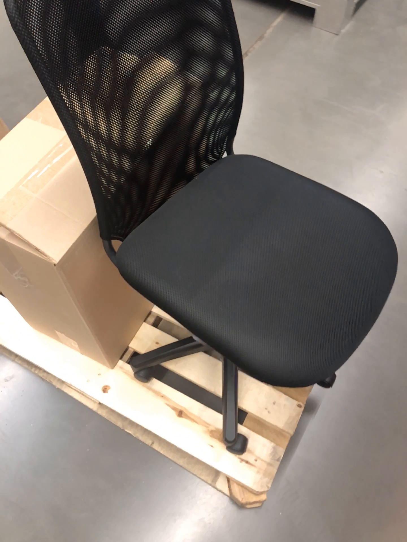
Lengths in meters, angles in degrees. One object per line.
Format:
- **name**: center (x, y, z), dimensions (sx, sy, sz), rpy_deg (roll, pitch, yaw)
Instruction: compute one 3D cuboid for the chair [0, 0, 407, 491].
- **chair**: center (0.126, -0.057, 0.915), dimensions (0.571, 1.036, 0.602), rpy_deg (35, 65, 19)
